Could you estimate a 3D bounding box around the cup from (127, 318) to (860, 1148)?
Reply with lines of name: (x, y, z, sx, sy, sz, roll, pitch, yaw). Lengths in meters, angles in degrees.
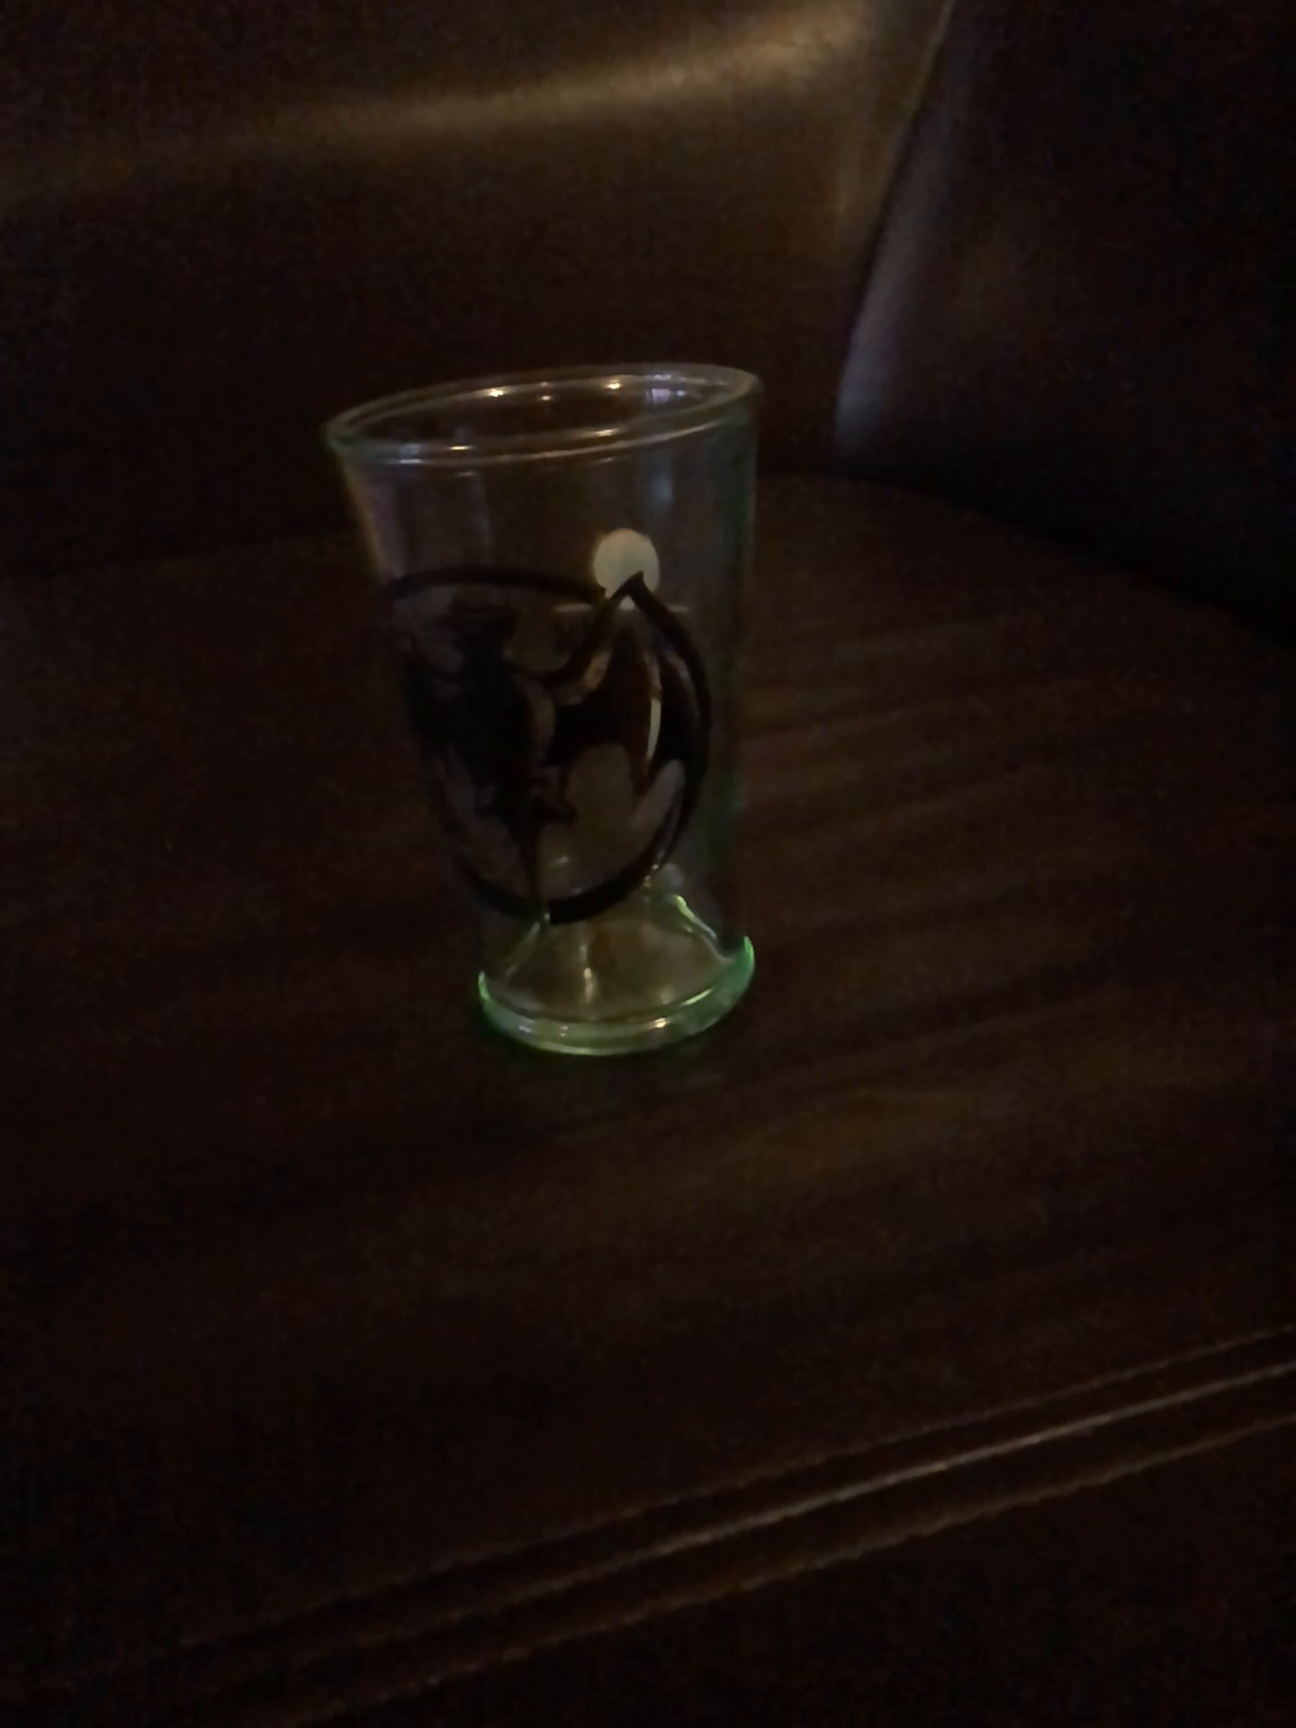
cup: (-0.017, -0.029, 0.262, 0.084, 0.117, 0.088, -6, 27, 3)
